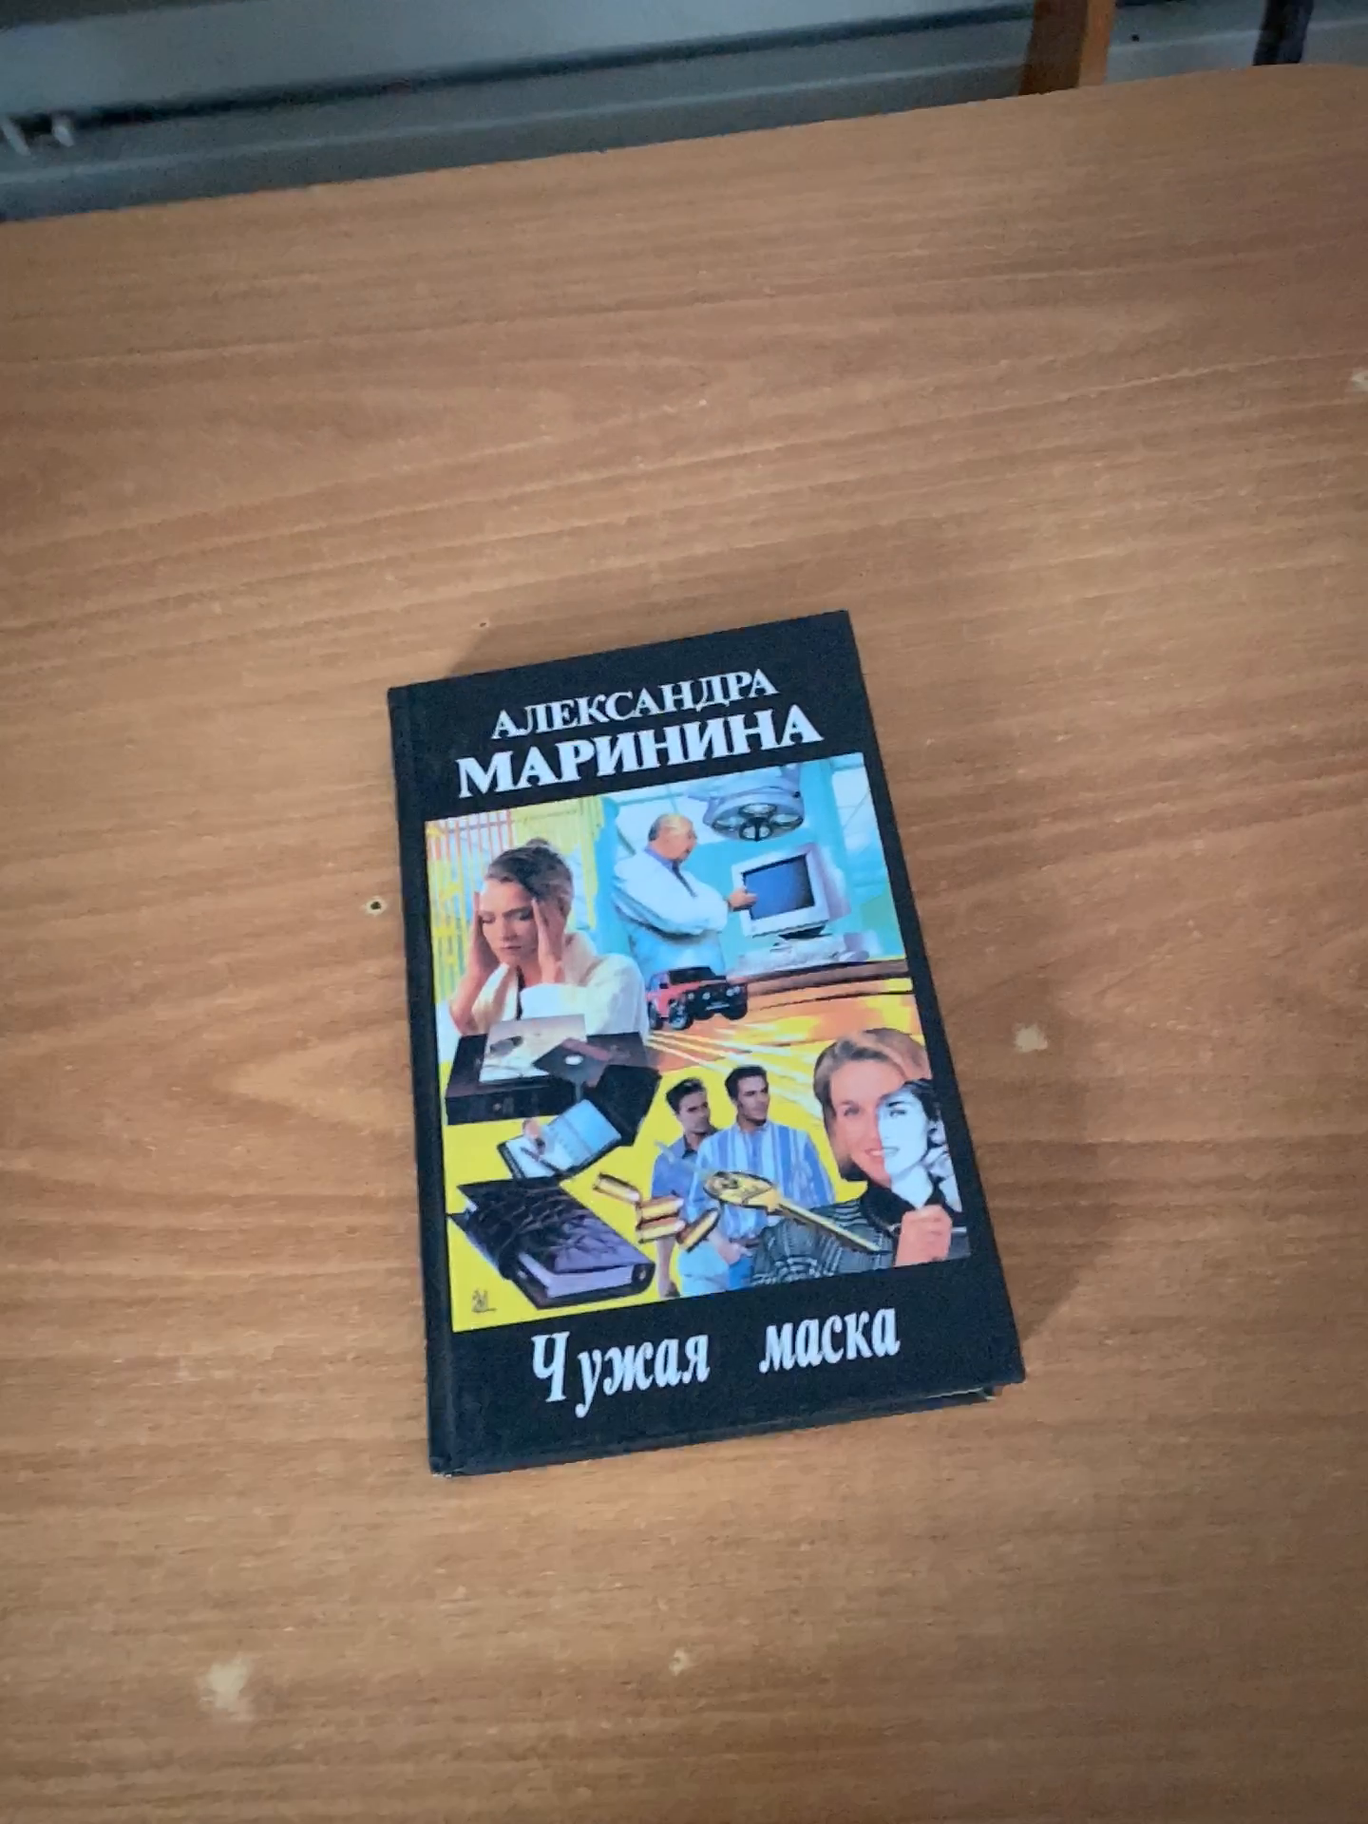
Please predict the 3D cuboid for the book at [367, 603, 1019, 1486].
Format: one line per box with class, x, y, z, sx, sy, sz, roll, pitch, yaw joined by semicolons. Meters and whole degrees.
book;-0.007;0.025;0.346;0.130;0.030;0.201;-9;65;2
